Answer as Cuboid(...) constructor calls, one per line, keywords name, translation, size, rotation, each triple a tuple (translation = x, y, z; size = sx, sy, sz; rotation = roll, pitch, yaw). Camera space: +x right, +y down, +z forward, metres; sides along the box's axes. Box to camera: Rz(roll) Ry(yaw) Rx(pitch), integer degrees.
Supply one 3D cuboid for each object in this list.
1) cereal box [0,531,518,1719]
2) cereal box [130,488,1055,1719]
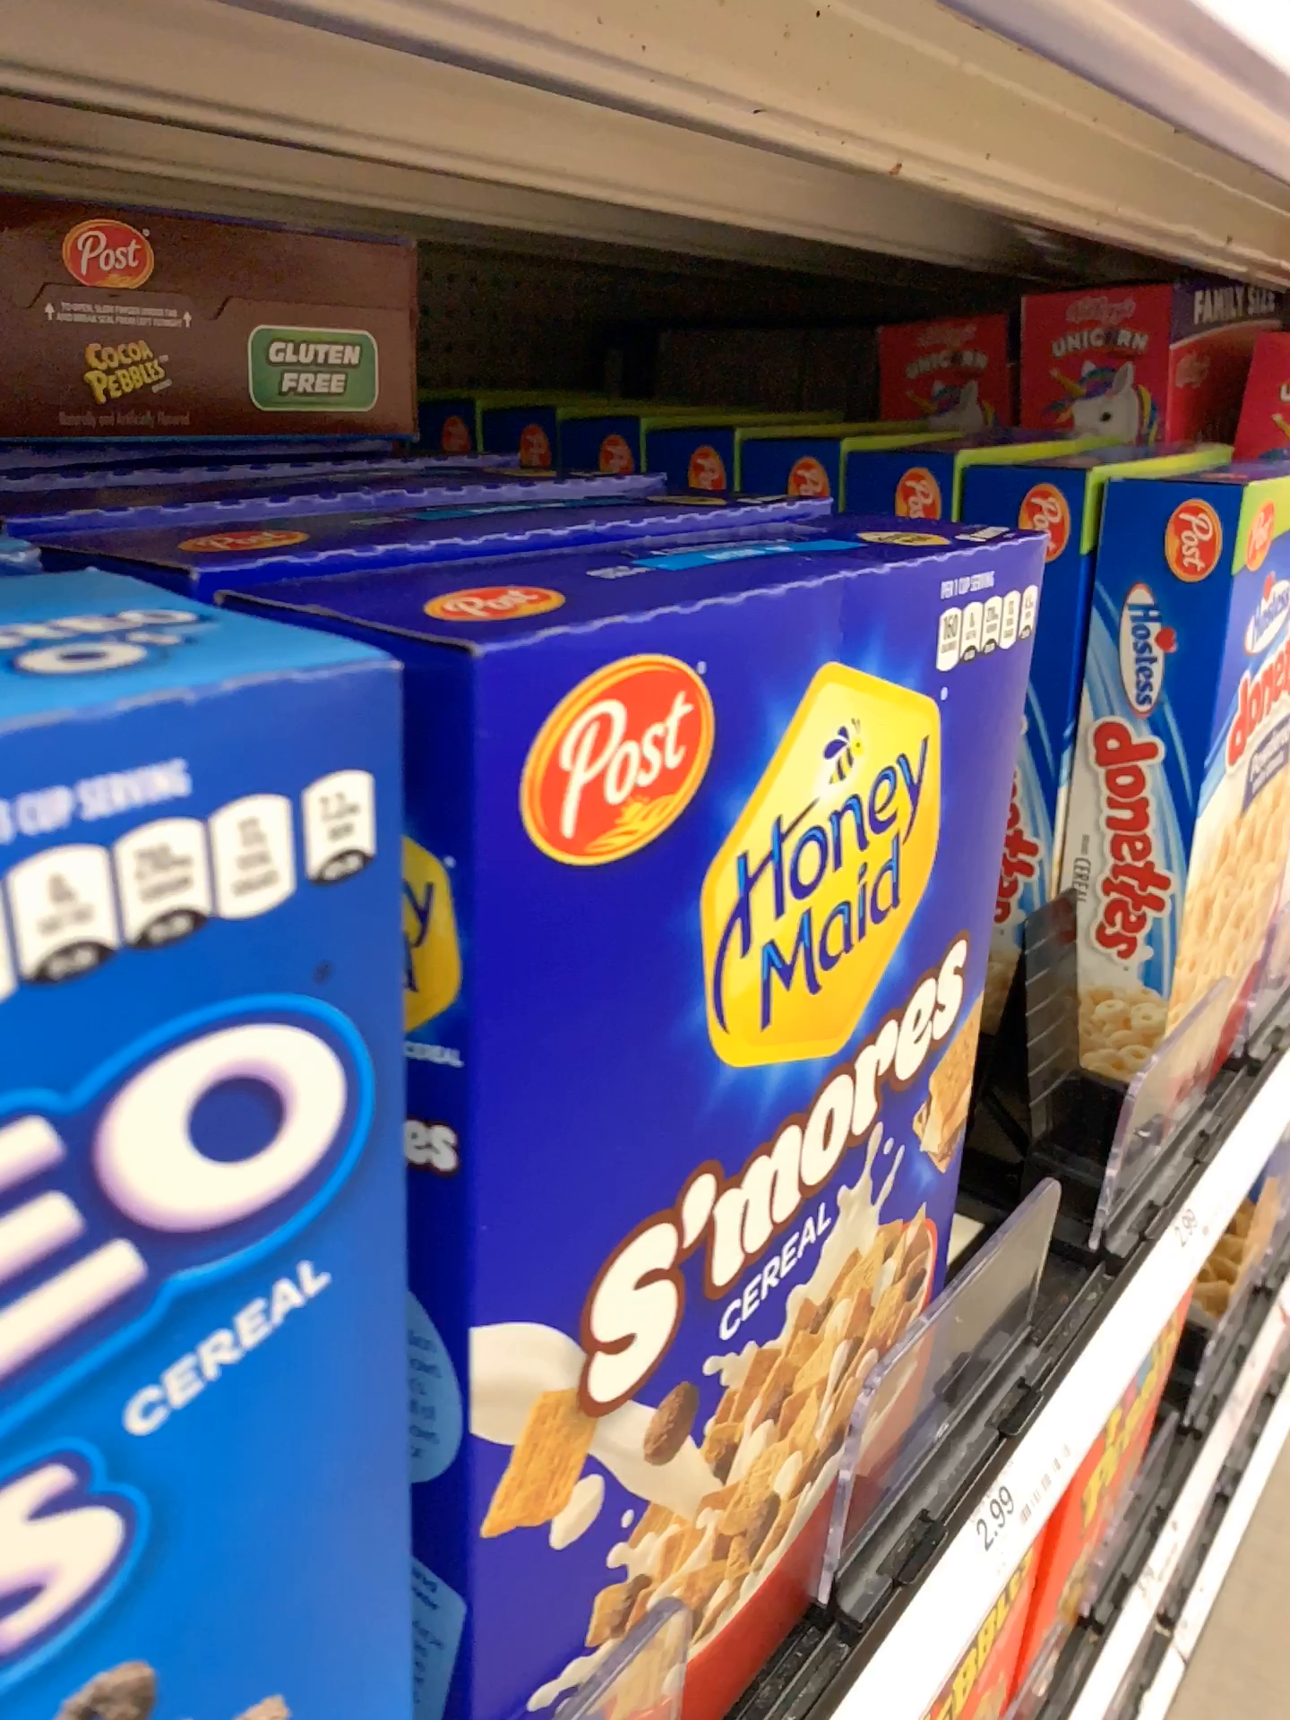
Cuboid(name="cereal box", translation=(-0.100, 0.113, 0.144), size=(0.070, 0.269, 0.181), rotation=(16, 24, 32))
Cuboid(name="cereal box", translation=(0.004, 0.065, 0.290), size=(0.060, 0.269, 0.191), rotation=(17, 25, 35))
